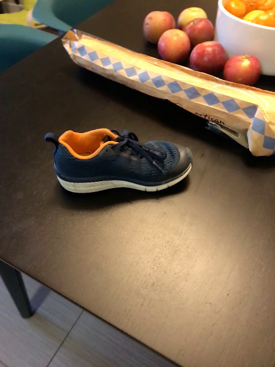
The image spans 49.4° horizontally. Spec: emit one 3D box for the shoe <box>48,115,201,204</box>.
[{"bbox_3d":[-0.017,-0.034,0.418,0.186,0.072,0.084,-4,49,-2],"label":"shoe"}]
